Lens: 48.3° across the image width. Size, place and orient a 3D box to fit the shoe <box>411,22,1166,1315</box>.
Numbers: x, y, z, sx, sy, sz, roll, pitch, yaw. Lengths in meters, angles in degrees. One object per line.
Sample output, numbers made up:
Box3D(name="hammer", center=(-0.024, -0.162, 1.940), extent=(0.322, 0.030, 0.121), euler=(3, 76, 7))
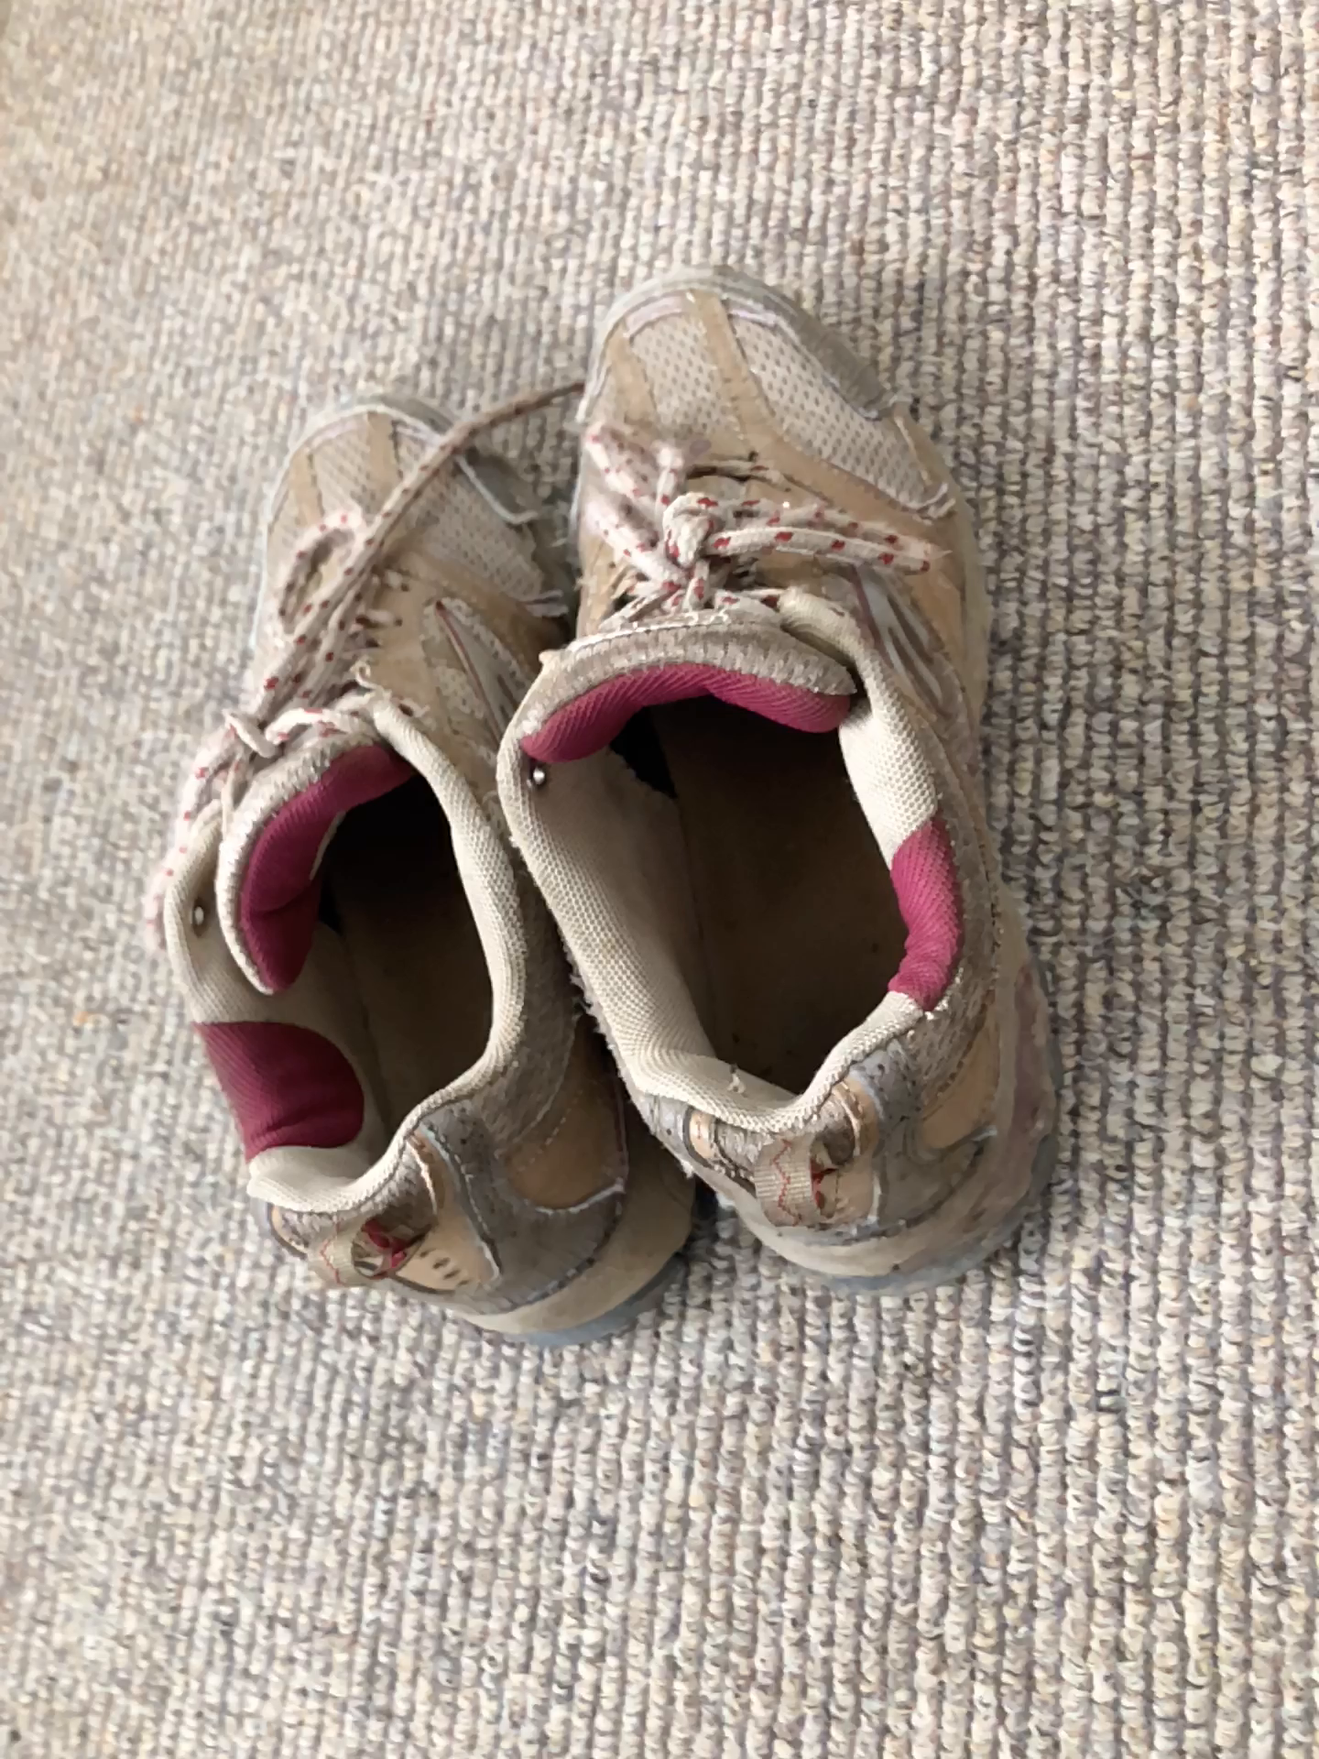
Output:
Box3D(name="shoe", center=(0.030, -0.042, 0.364), extent=(0.112, 0.123, 0.272), euler=(-15, 69, 17))

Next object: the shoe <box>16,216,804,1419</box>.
Box3D(name="shoe", center=(-0.070, -0.014, 0.391), extent=(0.110, 0.119, 0.271), euler=(-23, 67, 13))
